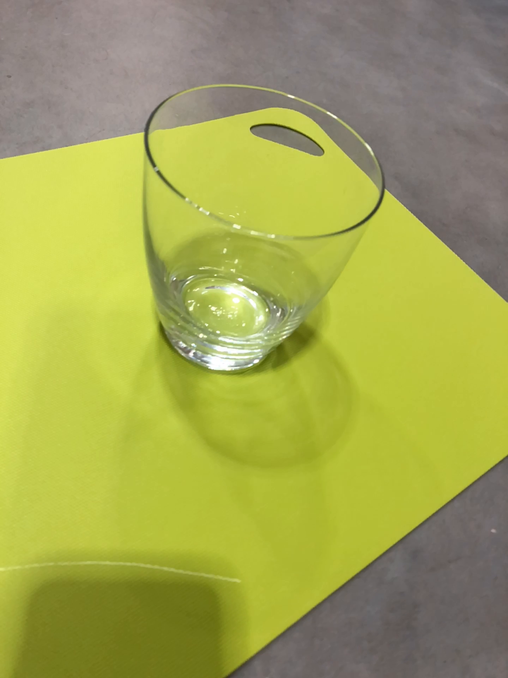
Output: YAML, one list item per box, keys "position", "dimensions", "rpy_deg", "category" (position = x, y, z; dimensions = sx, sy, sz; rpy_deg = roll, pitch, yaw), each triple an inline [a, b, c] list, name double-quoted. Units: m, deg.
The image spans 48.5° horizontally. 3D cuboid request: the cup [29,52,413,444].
- position: [-0.013, -0.043, 0.252]
  dimensions: [0.110, 0.090, 0.110]
  rpy_deg: [8, 51, -10]
  category: "cup"
